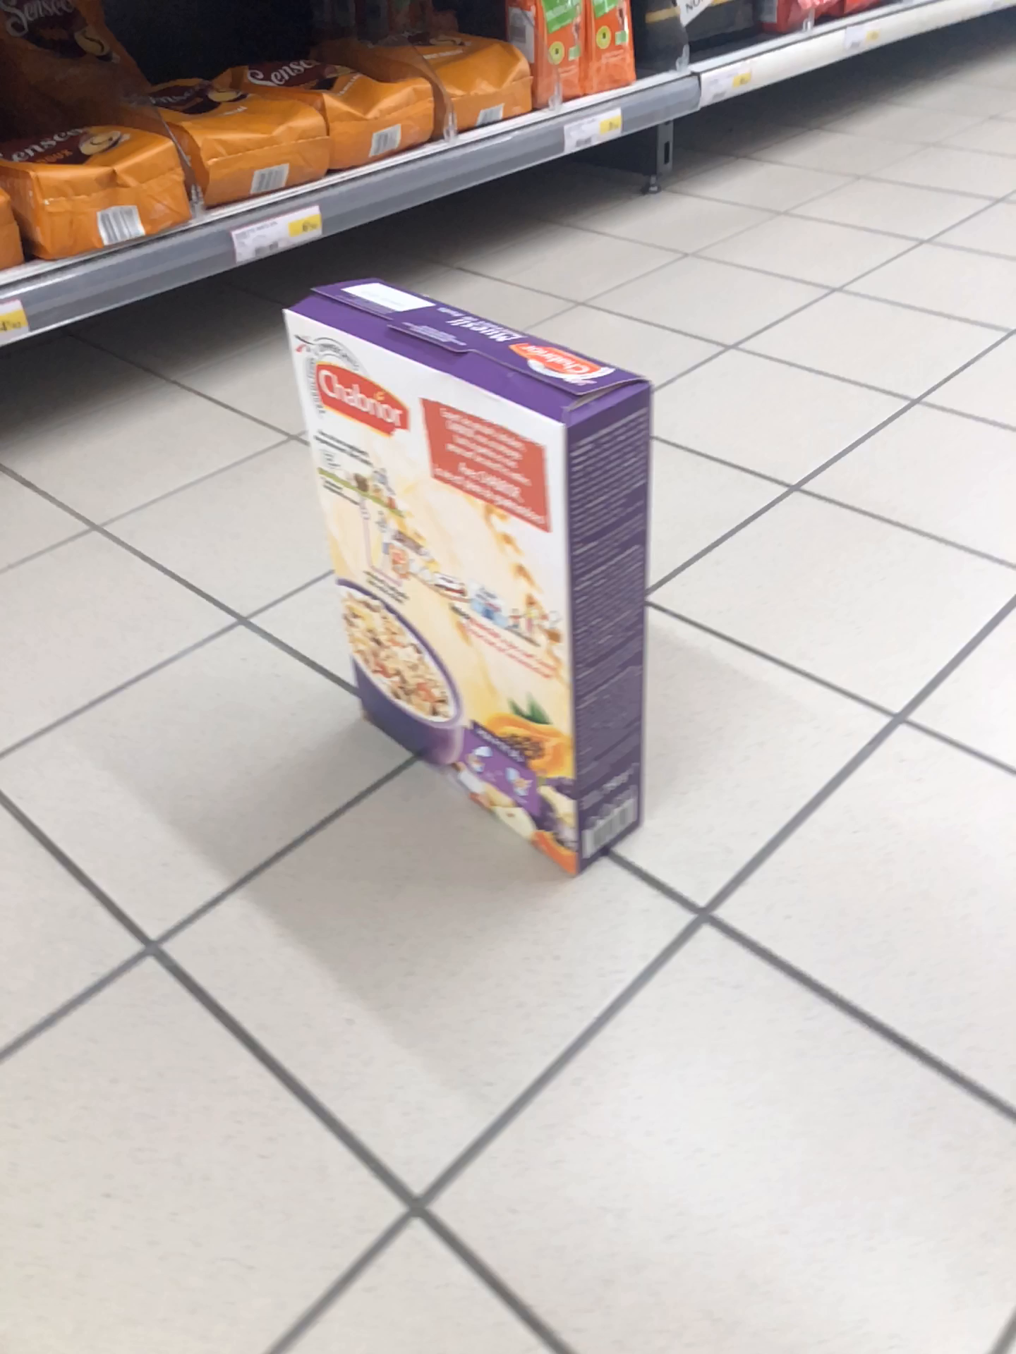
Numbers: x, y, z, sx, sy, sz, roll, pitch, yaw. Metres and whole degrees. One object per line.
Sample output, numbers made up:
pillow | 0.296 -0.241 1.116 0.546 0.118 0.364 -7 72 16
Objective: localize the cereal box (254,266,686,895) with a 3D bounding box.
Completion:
cereal box | -0.019 -0.050 0.574 0.070 0.259 0.210 -32 46 -31
